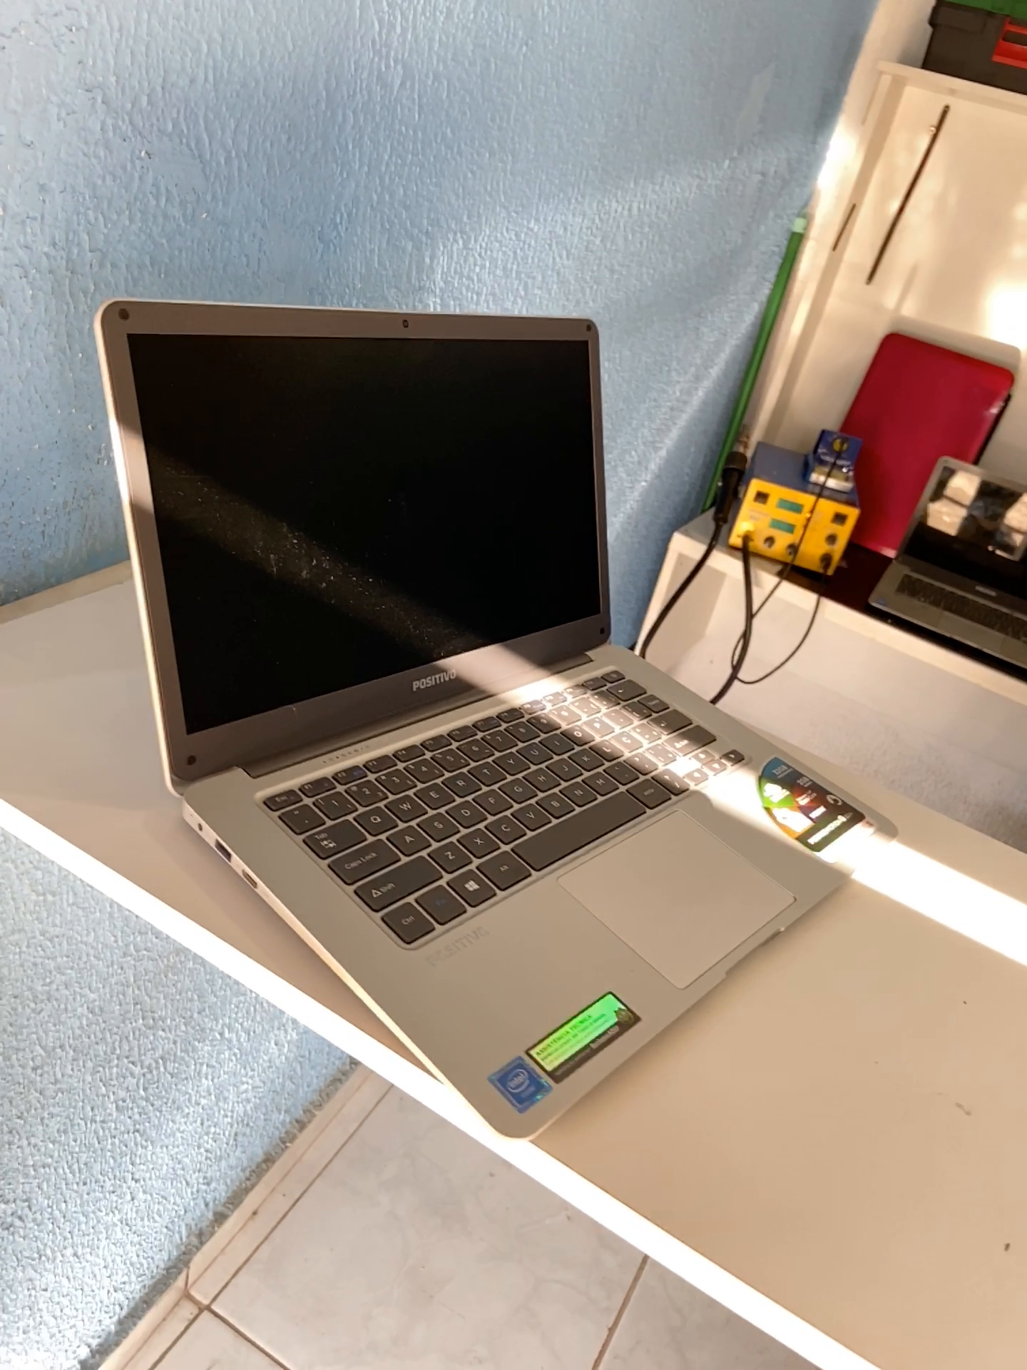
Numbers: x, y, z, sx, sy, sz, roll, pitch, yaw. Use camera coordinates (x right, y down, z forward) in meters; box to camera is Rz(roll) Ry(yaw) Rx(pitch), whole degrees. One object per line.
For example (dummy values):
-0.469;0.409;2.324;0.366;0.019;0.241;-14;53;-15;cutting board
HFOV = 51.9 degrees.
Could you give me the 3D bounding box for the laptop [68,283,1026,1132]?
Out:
0.022;-0.041;0.519;0.311;0.189;0.334;35;34;30;laptop
